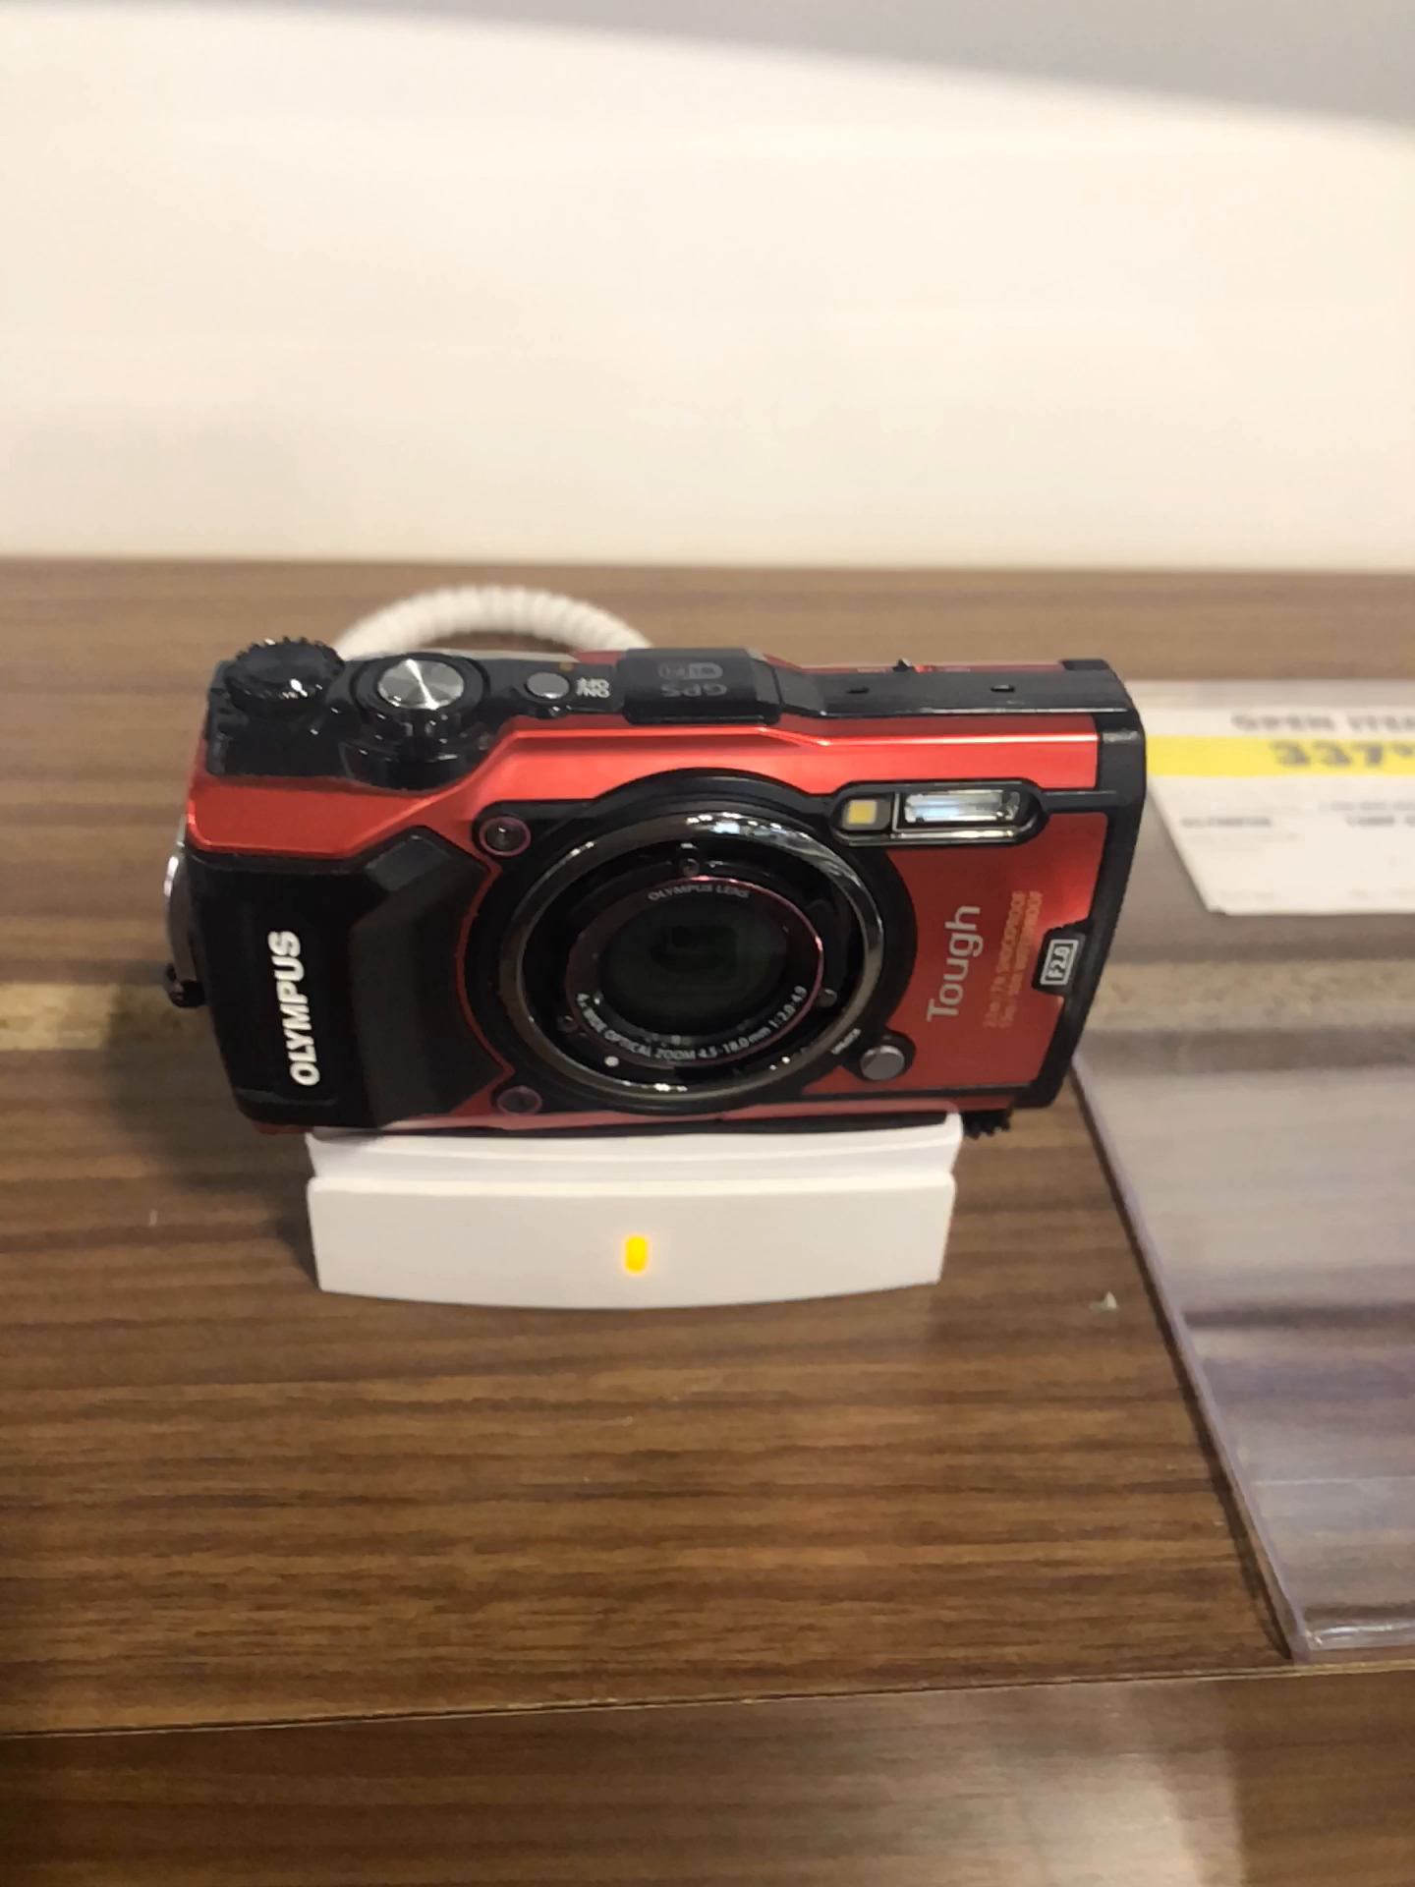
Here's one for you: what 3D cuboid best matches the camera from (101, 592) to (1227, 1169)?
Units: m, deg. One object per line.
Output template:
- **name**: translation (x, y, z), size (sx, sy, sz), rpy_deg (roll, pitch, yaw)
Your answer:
- **camera**: translation (-0.005, -0.006, 0.196), size (0.117, 0.064, 0.030), rpy_deg (0, 38, -4)
